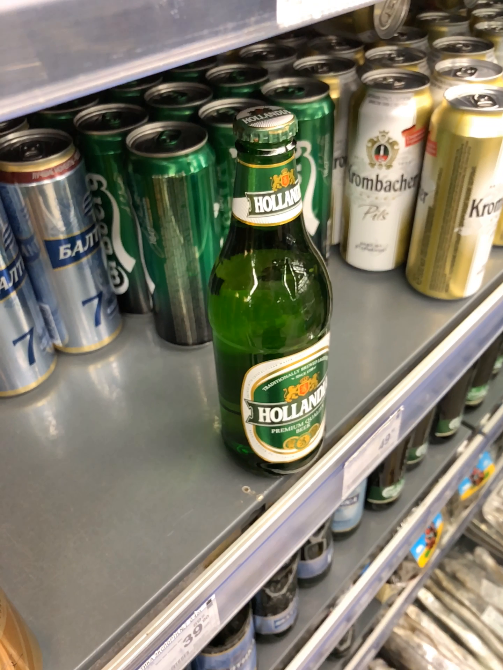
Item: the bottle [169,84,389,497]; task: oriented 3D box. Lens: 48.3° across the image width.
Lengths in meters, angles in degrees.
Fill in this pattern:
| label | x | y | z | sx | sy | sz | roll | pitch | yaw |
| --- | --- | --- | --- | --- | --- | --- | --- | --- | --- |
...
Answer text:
| label | x | y | z | sx | sy | sz | roll | pitch | yaw |
| --- | --- | --- | --- | --- | --- | --- | --- | --- | --- |
| bottle | 0.013 | -0.011 | 0.305 | 0.070 | 0.211 | 0.063 | -21 | 44 | -20 |
